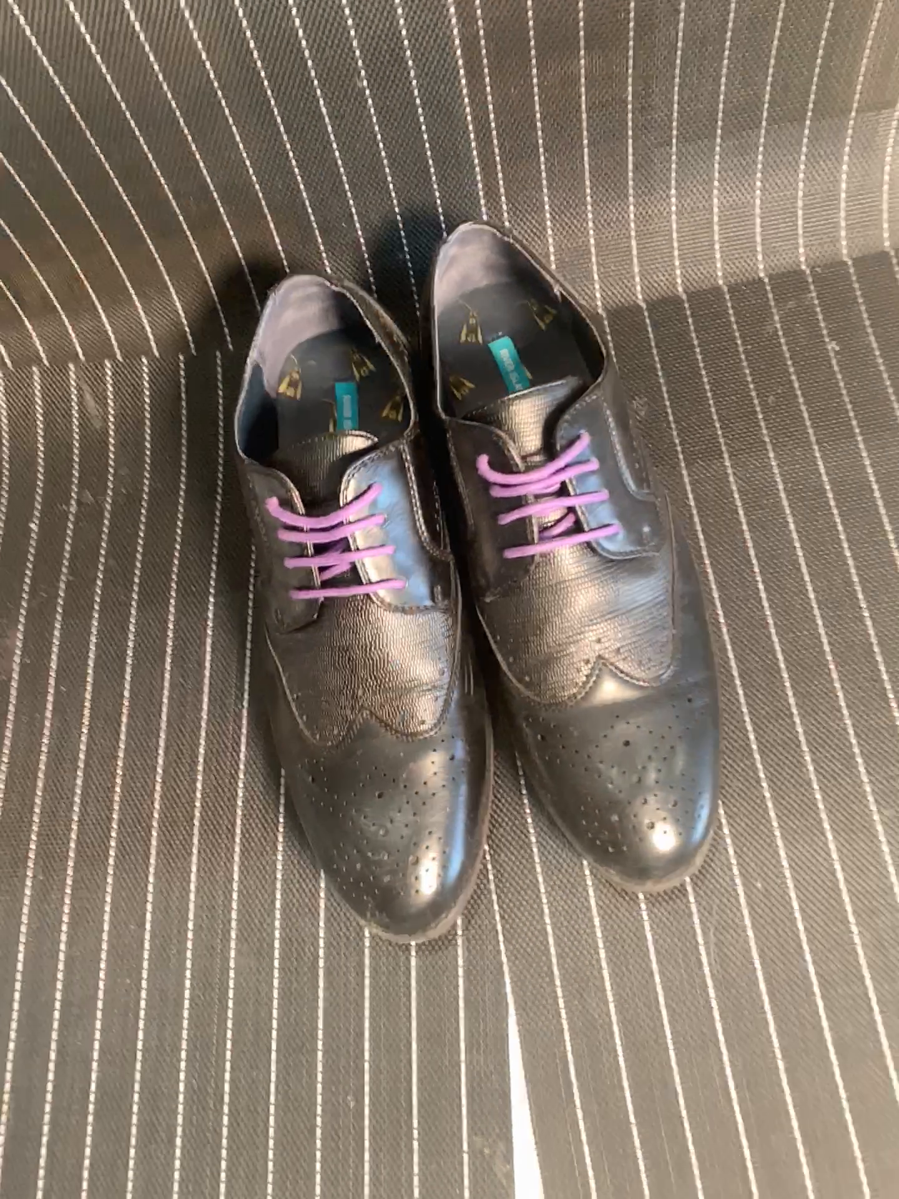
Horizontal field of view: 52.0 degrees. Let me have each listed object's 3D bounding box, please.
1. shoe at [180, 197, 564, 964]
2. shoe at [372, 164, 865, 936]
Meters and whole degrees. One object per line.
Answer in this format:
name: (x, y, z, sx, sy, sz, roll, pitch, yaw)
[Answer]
shoe: (-0.035, -0.010, 0.409, 0.120, 0.100, 0.300, -10, 72, 6)
shoe: (0.055, -0.022, 0.379, 0.110, 0.090, 0.280, -14, 71, 5)
